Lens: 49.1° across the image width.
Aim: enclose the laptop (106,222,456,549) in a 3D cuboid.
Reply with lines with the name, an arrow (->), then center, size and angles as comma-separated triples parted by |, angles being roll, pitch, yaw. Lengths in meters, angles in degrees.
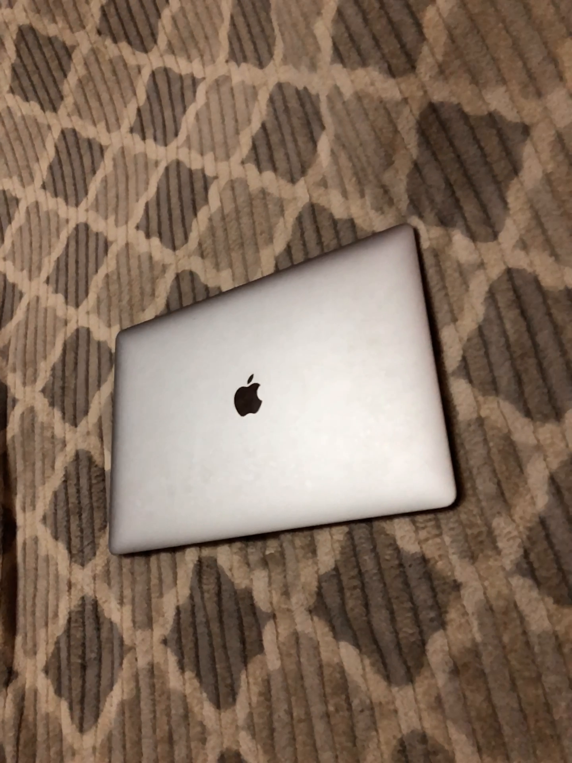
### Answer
laptop -> -0.036, 0.016, 0.592 | 0.358, 0.007, 0.246 | -15, 66, 29
